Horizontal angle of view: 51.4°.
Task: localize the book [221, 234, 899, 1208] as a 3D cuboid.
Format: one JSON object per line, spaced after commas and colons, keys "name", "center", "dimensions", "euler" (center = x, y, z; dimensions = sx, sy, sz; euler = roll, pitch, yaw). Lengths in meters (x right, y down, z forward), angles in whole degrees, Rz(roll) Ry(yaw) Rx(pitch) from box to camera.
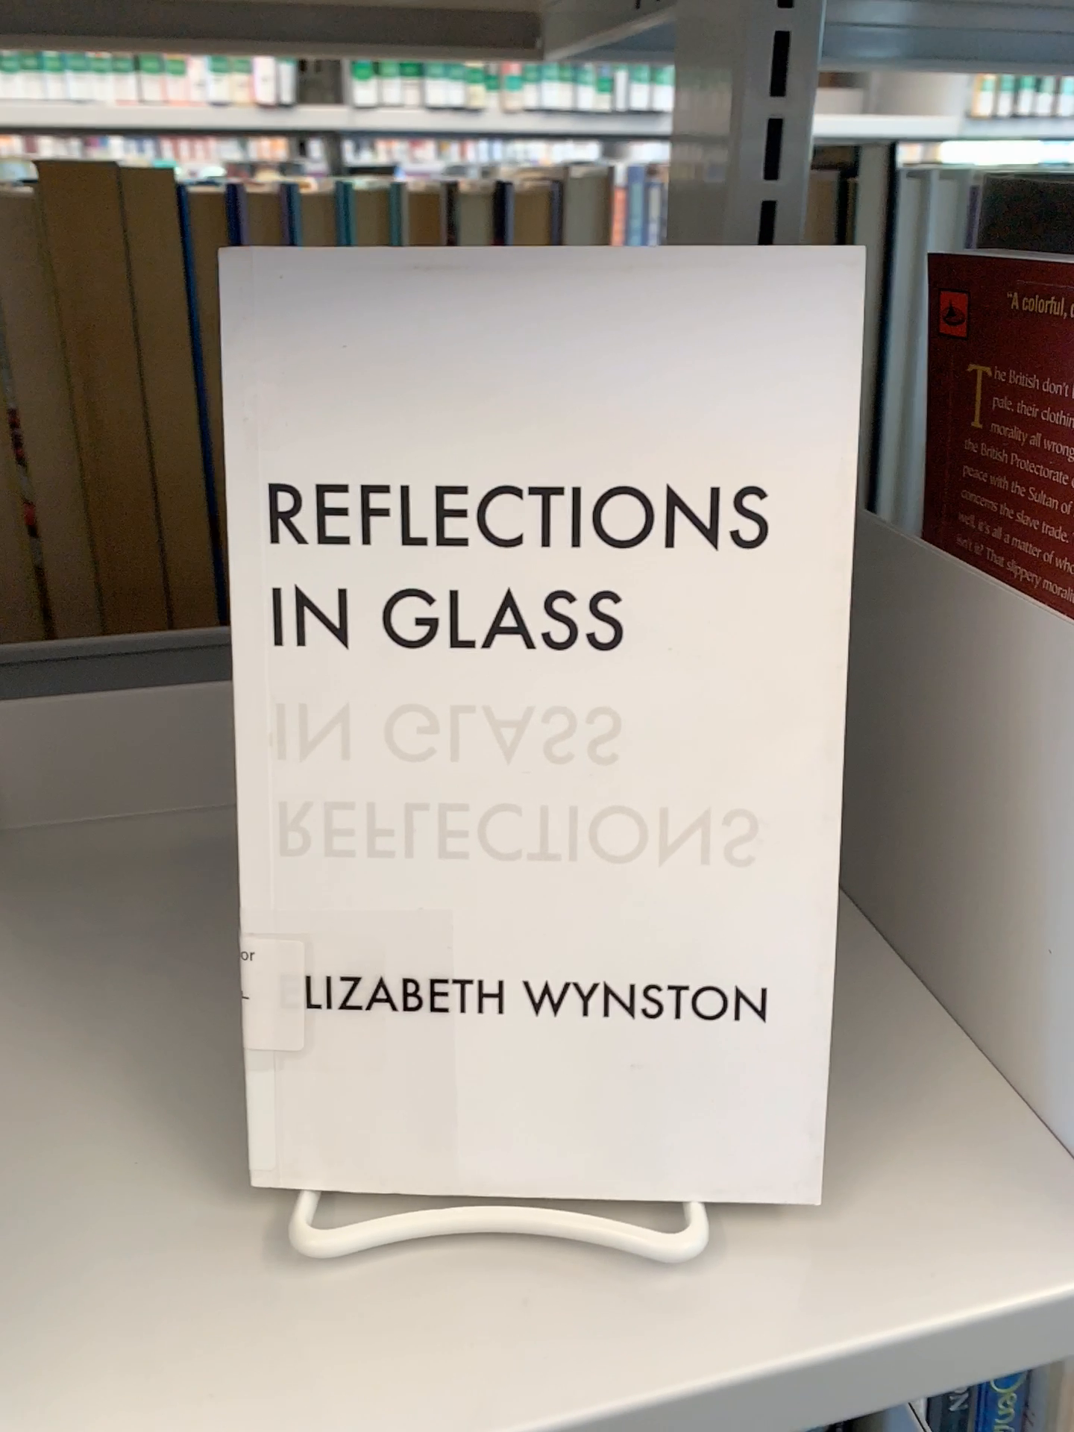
{"name": "book", "center": [0.003, 0.005, 0.233], "dimensions": [0.127, 0.196, 0.018], "euler": [1, 9, 2]}
